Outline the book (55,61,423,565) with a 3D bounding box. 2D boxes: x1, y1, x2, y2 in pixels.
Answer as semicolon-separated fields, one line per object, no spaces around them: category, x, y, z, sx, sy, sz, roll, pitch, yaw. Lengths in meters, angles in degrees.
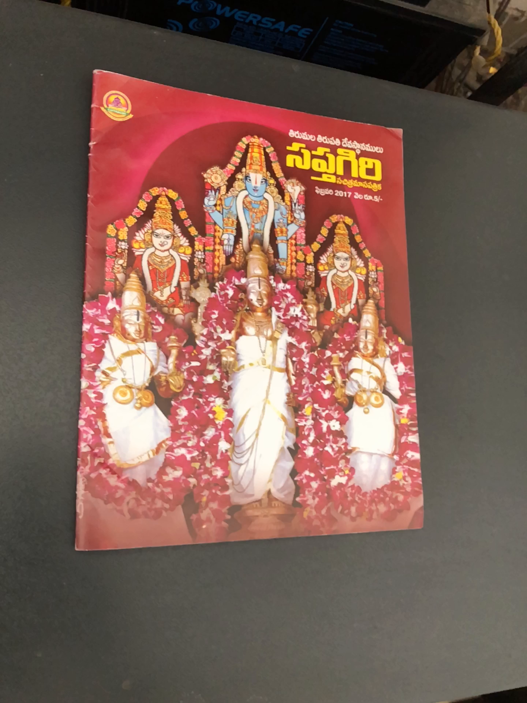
book;-0.010;-0.023;0.342;0.200;0.030;0.260;2;80;-19
